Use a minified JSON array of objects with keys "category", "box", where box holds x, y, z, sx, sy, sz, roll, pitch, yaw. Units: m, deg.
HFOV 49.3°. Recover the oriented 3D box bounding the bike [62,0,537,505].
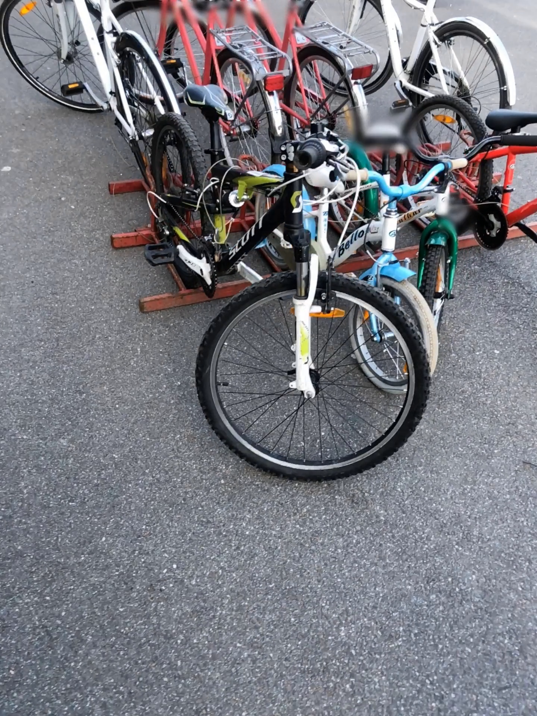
[{"category":"bike","box":[-0.027,-0.412,1.708,0.529,0.901,1.377,-19,48,-29]}]
